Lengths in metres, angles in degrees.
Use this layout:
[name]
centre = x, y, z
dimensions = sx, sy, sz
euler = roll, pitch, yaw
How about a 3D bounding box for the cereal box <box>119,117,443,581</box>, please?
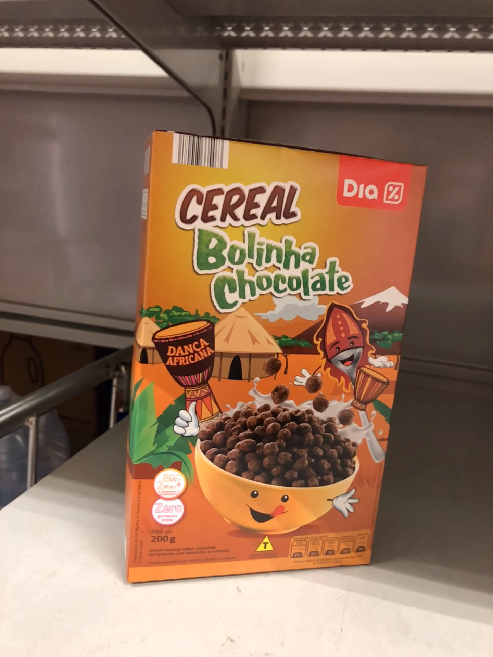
[cereal box]
centre = 0.015, 0.018, 0.352
dimensions = 0.170, 0.259, 0.060
euler = 3, 9, -16
